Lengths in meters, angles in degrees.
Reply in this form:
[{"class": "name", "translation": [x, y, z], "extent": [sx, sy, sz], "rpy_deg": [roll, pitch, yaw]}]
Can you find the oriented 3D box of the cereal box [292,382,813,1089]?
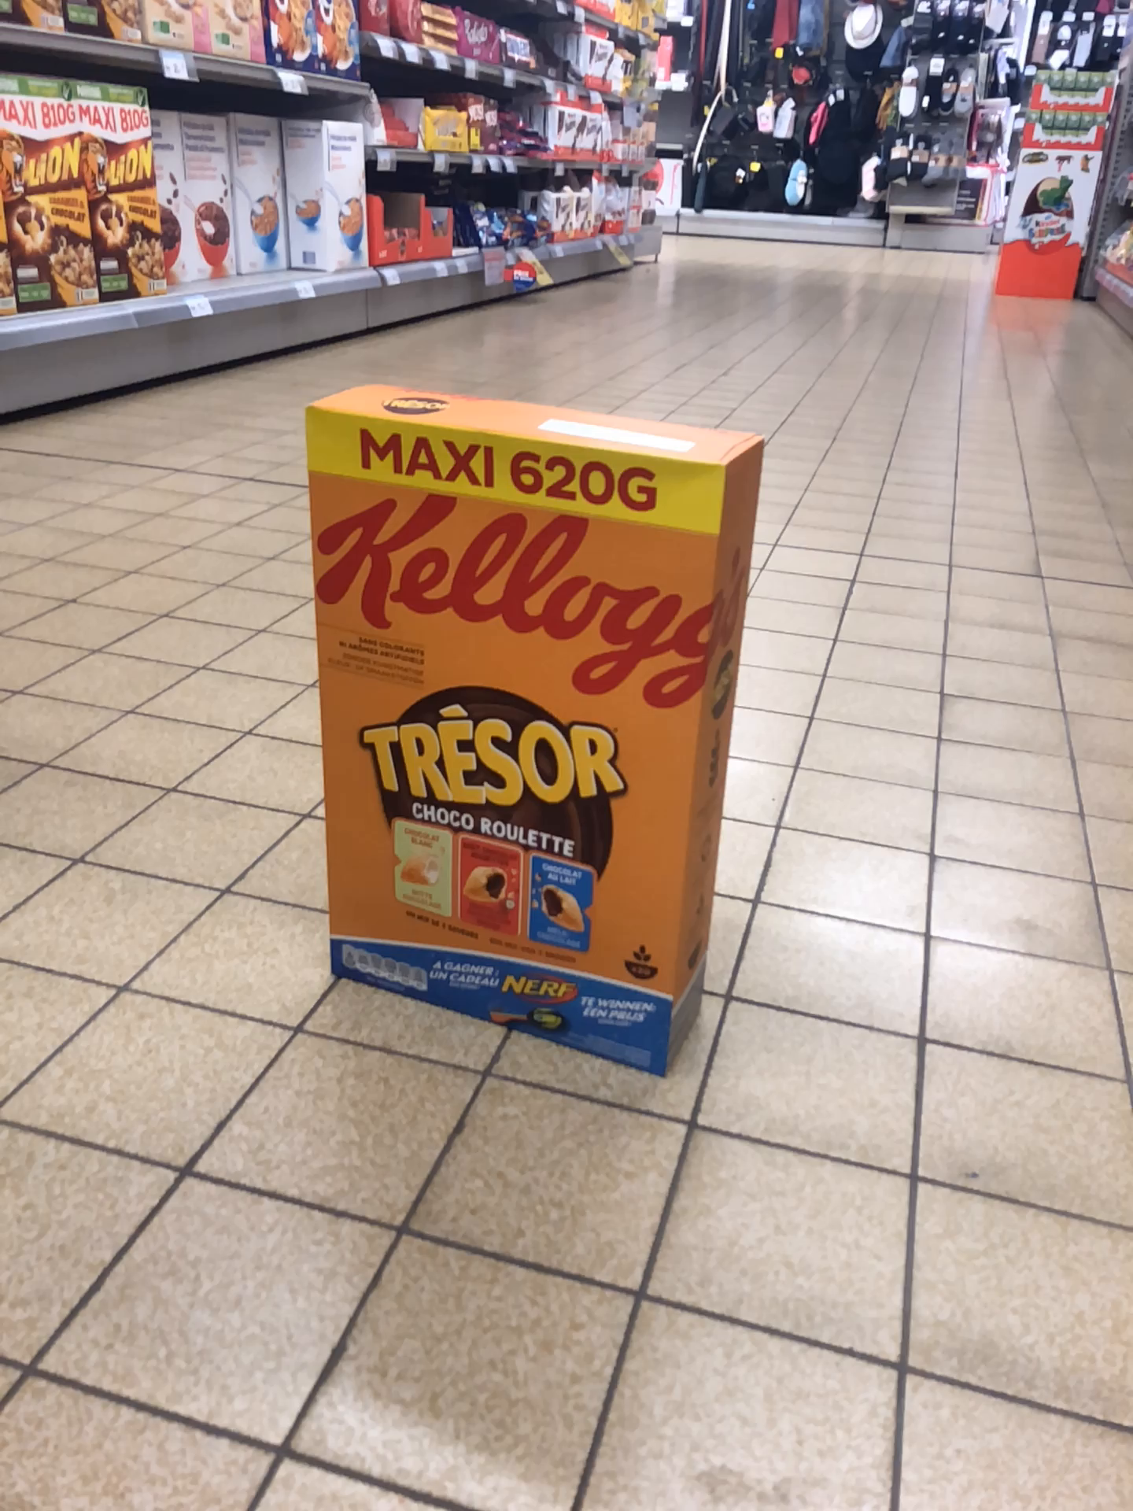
[{"class": "cereal box", "translation": [-0.014, -0.011, 0.580], "extent": [0.210, 0.288, 0.070], "rpy_deg": [13, 26, 20]}]
